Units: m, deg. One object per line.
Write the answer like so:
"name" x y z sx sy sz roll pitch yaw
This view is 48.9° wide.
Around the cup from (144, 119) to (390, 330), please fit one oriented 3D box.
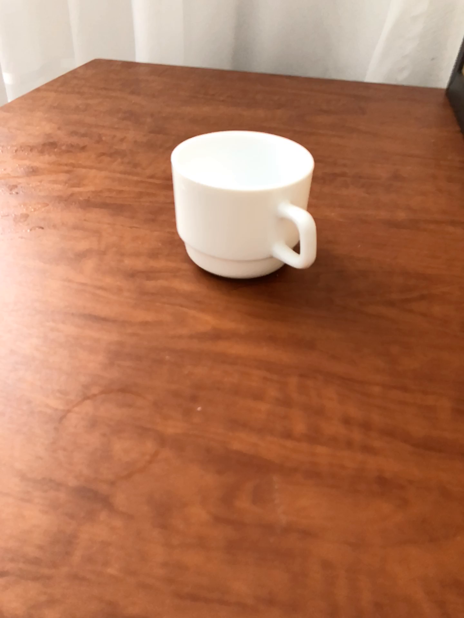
"cup" 0.014 -0.059 0.308 0.087 0.060 0.120 -20 44 -26
